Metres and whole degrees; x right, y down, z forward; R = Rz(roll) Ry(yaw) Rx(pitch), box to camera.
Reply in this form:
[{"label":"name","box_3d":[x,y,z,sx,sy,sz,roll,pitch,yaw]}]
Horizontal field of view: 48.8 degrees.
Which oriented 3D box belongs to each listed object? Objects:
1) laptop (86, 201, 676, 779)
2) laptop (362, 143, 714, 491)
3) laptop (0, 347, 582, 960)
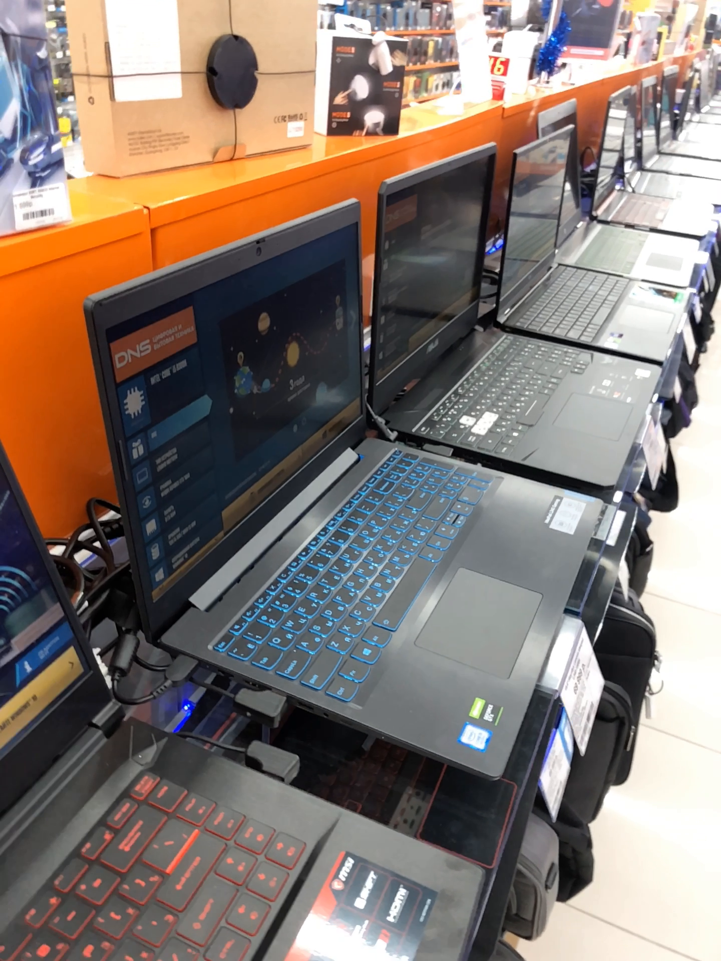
[{"label":"laptop","box_3d":[0.042,-0.039,0.594,0.278,0.235,0.358,16,32,19]},{"label":"laptop","box_3d":[0.209,-0.215,0.902,0.273,0.244,0.369,17,33,20]},{"label":"laptop","box_3d":[-0.138,0.149,0.263,0.319,0.224,0.357,16,32,18]}]
